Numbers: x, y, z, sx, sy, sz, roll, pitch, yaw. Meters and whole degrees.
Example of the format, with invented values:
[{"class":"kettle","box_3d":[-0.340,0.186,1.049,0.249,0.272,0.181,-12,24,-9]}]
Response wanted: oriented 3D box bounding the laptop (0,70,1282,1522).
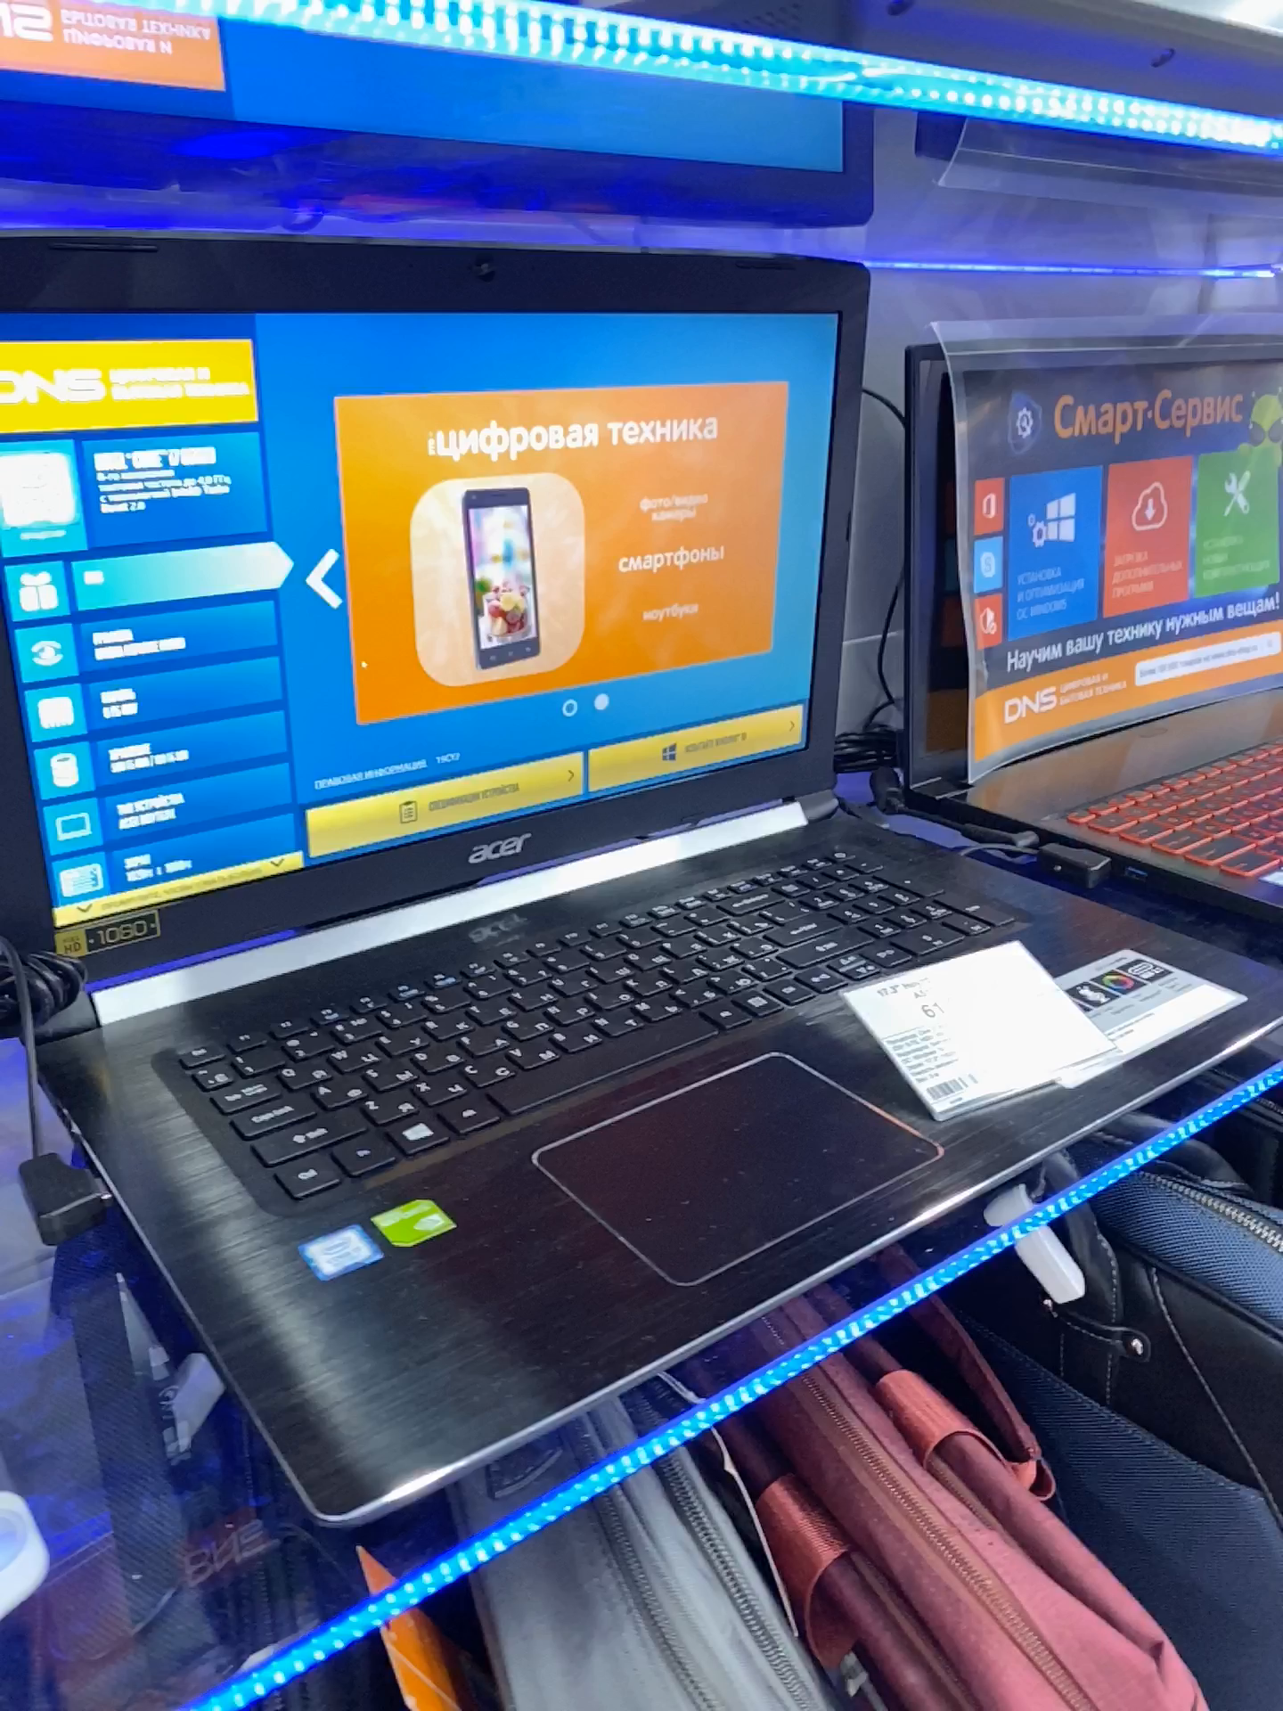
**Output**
[{"class":"laptop","box_3d":[0.023,-0.067,0.461,0.422,0.277,0.273,-15,24,-34]}]
